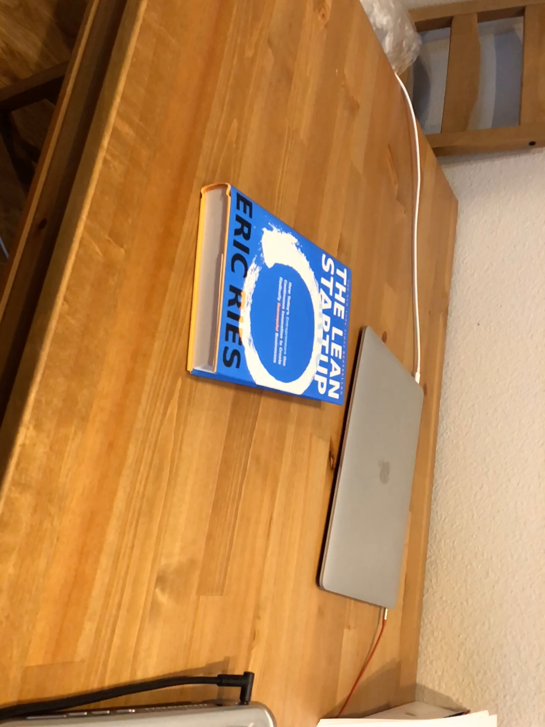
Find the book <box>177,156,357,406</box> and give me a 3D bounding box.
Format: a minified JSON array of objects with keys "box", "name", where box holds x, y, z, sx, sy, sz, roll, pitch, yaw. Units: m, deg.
[{"box":[0.009,-0.054,0.524,0.211,0.040,0.160,18,74,-57],"name":"book"}]
